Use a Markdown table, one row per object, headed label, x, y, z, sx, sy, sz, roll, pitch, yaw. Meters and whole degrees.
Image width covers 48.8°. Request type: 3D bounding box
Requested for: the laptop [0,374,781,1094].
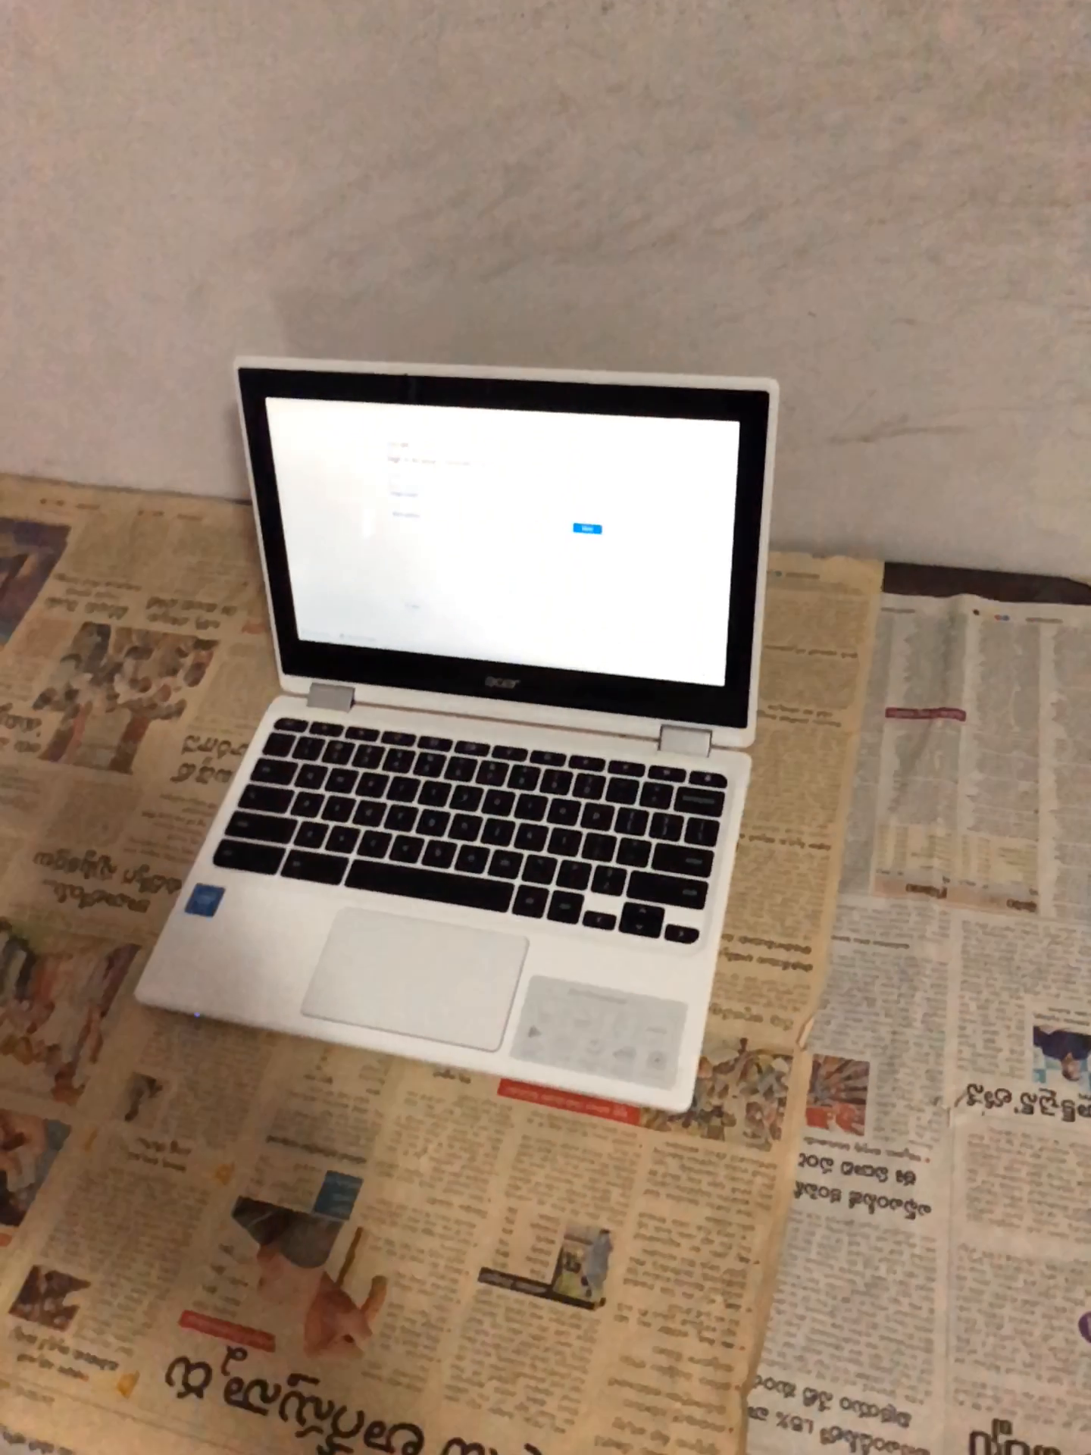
| label | x | y | z | sx | sy | sz | roll | pitch | yaw |
| --- | --- | --- | --- | --- | --- | --- | --- | --- | --- |
| laptop | -0.043 | -0.011 | 0.577 | 0.268 | 0.168 | 0.279 | 7 | 54 | 15 |
